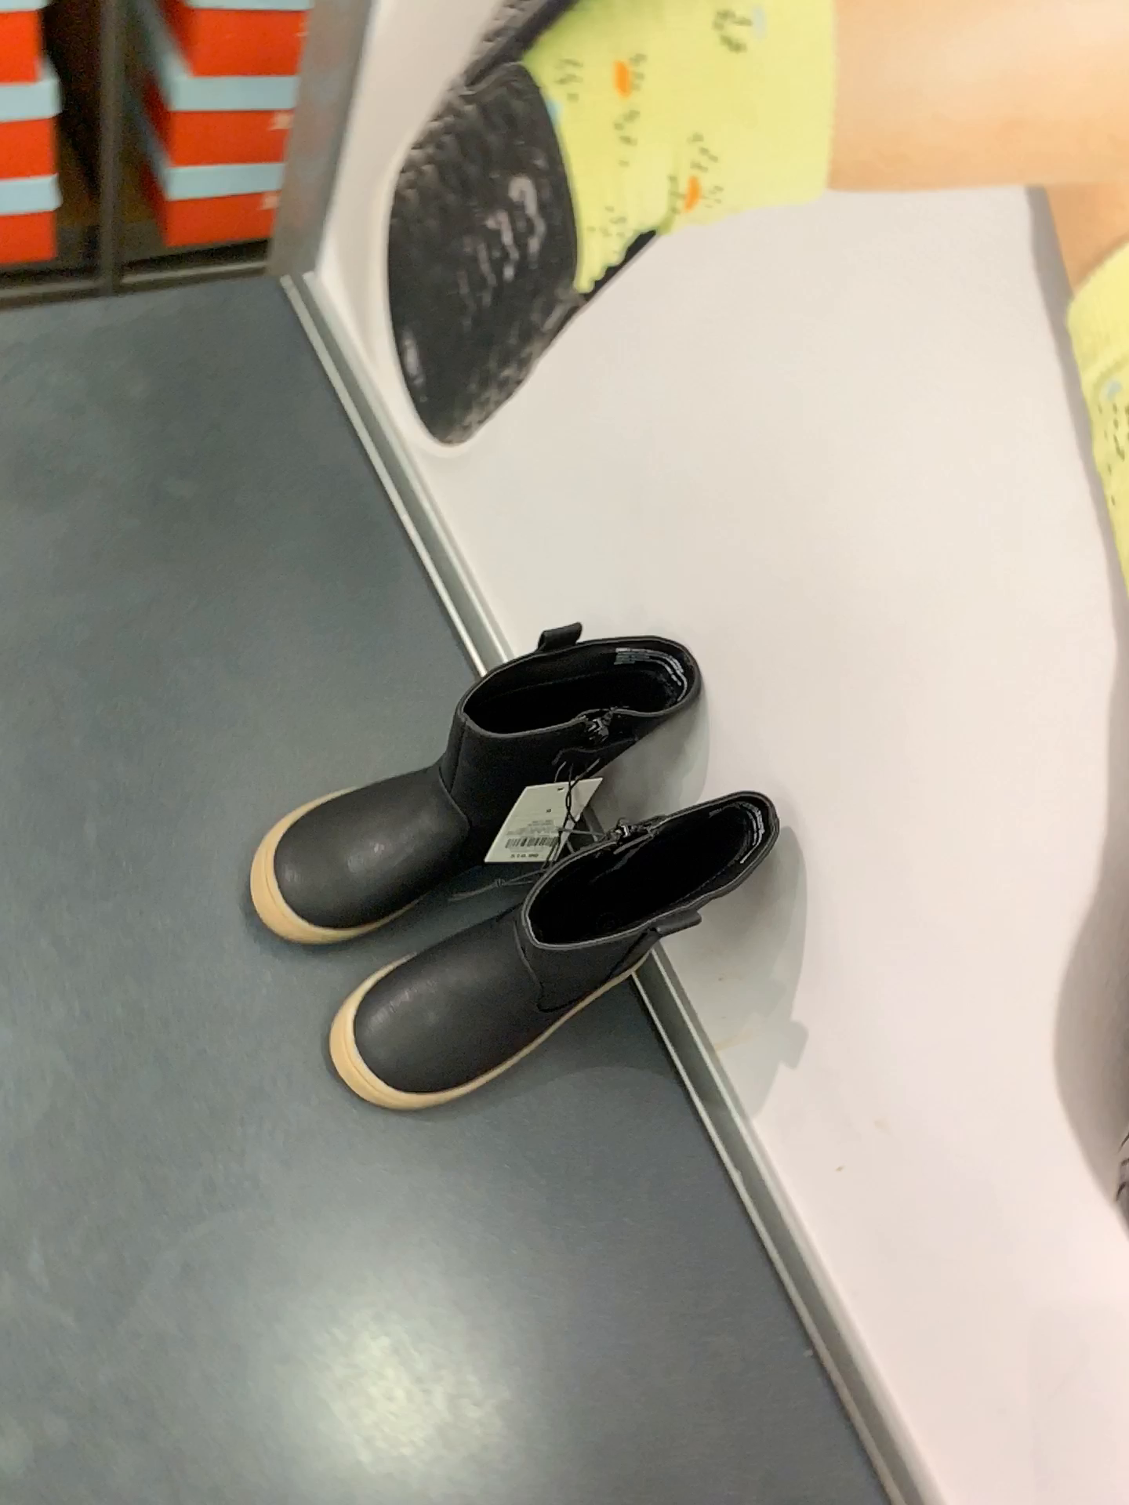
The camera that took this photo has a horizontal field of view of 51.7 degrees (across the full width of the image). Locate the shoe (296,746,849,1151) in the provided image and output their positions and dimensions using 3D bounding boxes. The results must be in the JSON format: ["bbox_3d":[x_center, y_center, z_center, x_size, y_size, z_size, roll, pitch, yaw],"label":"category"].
[{"bbox_3d":[-0.008,0.099,0.552,0.190,0.200,0.080,-20,76,-28],"label":"shoe"}]

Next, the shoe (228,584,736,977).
[{"bbox_3d":[-0.053,0.020,0.584,0.190,0.200,0.080,-18,75,-27],"label":"shoe"}]
